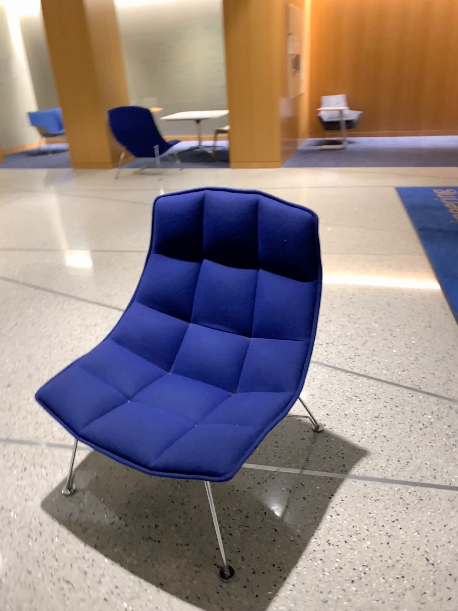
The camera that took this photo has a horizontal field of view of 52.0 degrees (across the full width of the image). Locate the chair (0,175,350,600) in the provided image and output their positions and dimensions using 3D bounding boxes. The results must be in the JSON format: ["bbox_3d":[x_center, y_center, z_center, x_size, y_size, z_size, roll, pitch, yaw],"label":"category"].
[{"bbox_3d":[-0.170,0.129,1.556,0.856,0.894,0.798,12,31,30],"label":"chair"}]
